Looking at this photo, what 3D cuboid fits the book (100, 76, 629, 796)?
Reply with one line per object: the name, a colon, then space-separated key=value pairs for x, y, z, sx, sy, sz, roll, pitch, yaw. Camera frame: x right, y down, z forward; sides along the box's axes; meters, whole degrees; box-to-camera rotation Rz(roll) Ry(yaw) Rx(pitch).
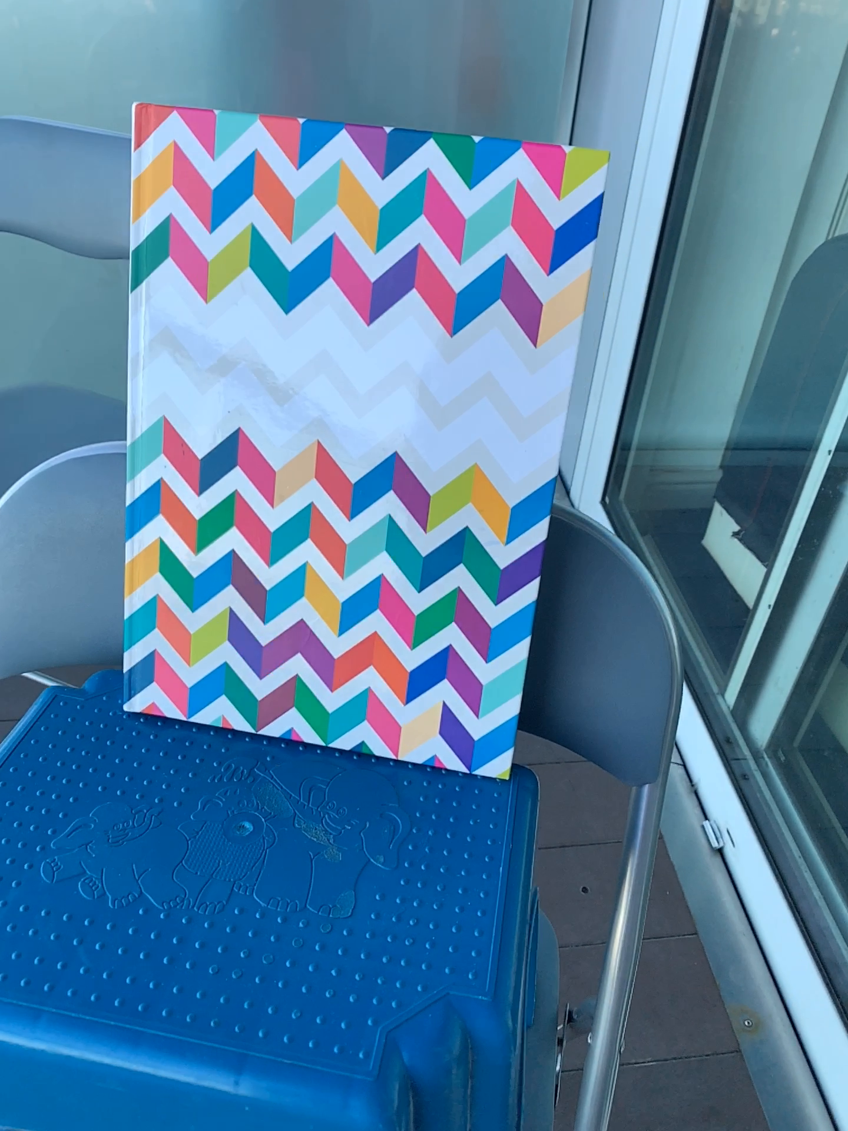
book: x=-0.040 y=-0.051 z=0.399 sx=0.211 sy=0.289 sz=0.030 roll=10 pitch=16 yaw=8
